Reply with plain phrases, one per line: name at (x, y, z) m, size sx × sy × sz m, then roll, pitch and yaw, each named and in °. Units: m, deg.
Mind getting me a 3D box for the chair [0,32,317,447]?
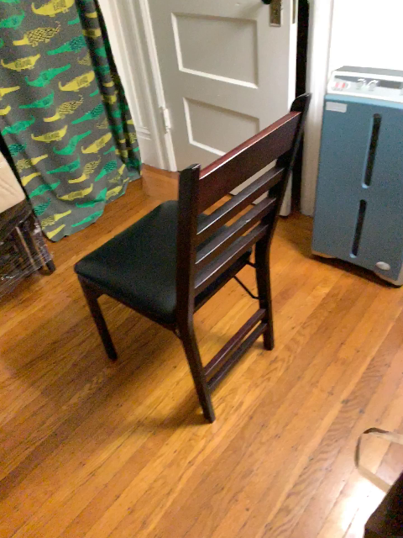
chair at (-0.090, -0.074, 1.117) m, size 0.552 × 0.865 × 0.491 m, roll 24°, pitch 51°, yaw 32°
